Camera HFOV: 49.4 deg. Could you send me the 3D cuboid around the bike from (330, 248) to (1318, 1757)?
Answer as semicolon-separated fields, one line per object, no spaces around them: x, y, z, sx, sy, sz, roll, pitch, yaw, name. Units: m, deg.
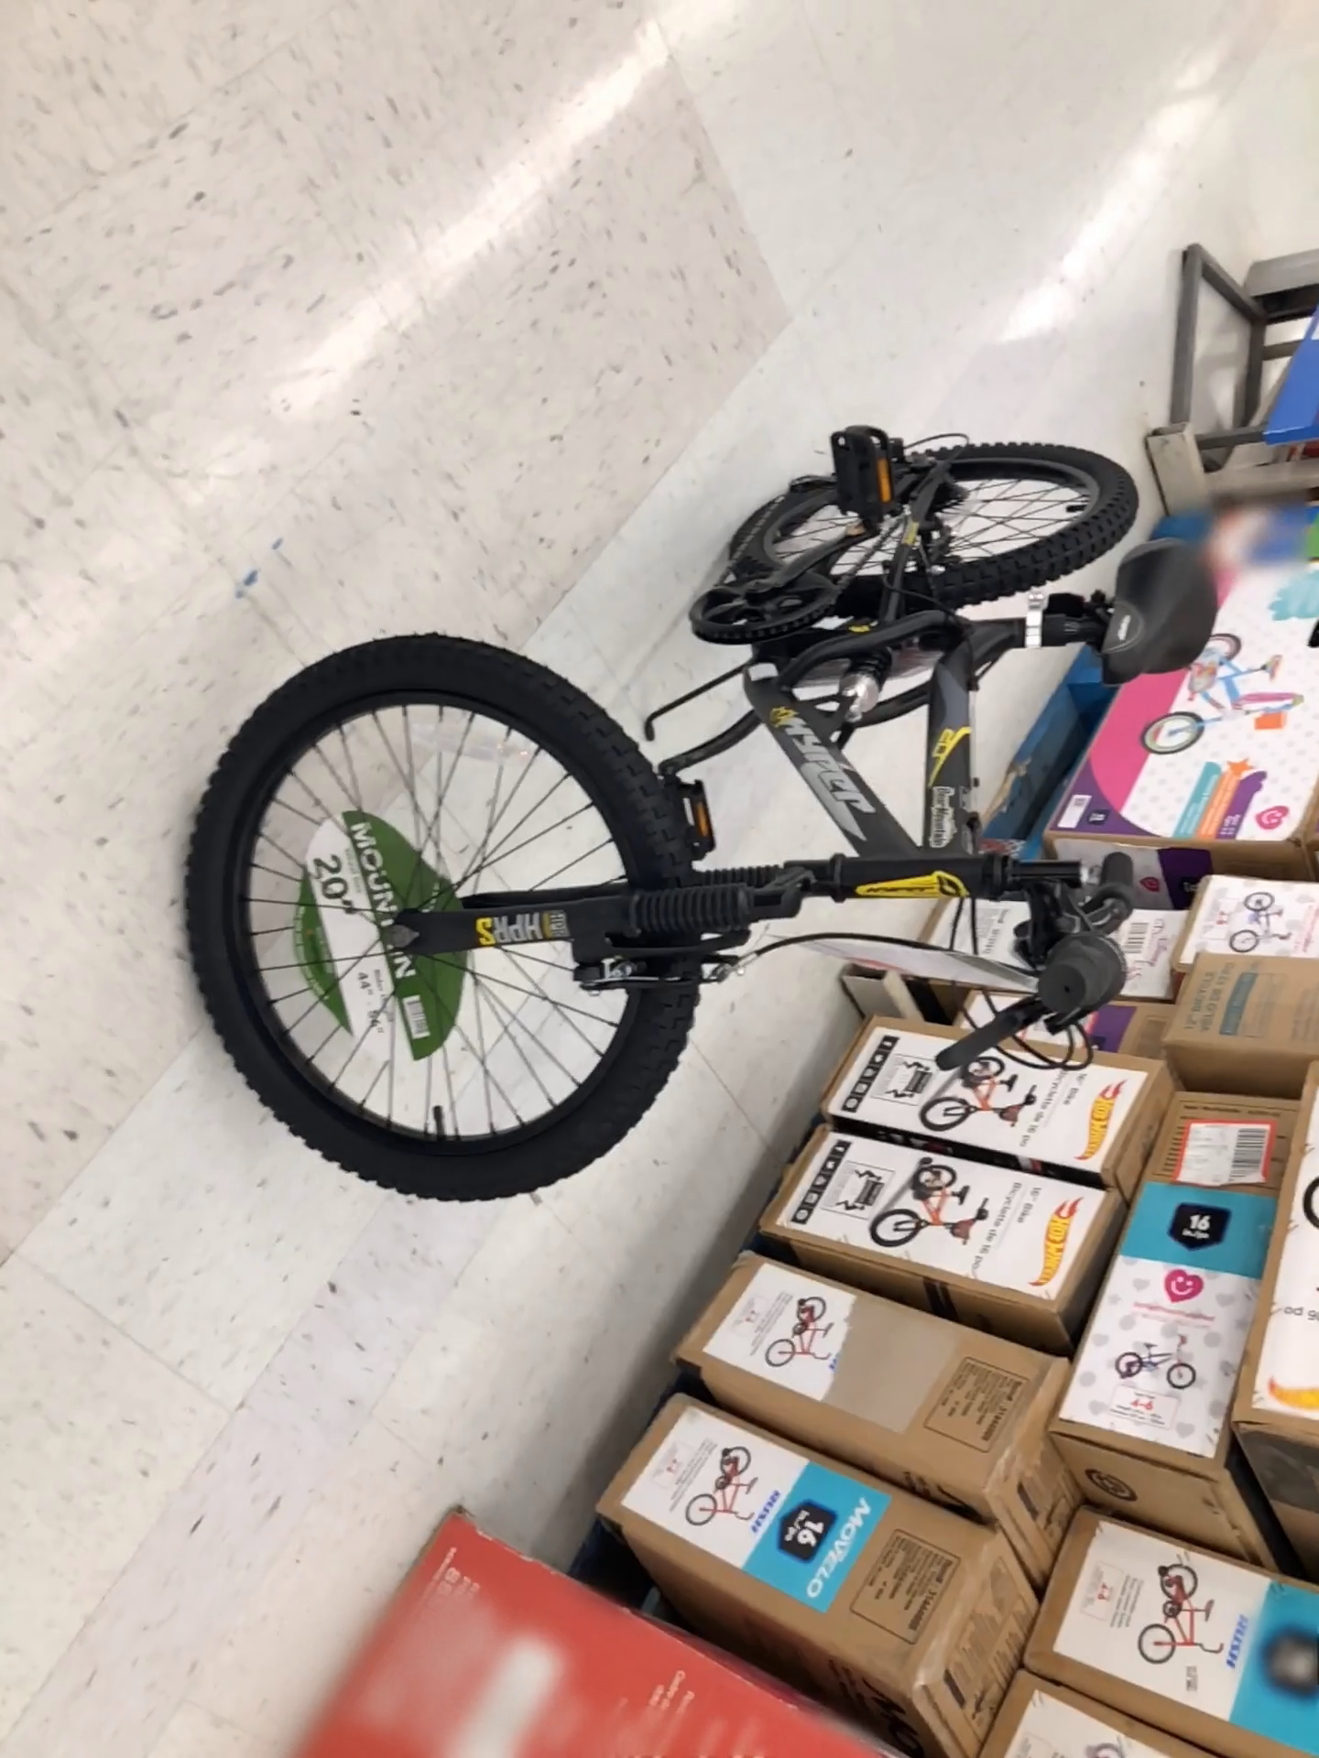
0.368;-0.021;1.534;1.262;0.849;0.524;-53;129;-35;bike
